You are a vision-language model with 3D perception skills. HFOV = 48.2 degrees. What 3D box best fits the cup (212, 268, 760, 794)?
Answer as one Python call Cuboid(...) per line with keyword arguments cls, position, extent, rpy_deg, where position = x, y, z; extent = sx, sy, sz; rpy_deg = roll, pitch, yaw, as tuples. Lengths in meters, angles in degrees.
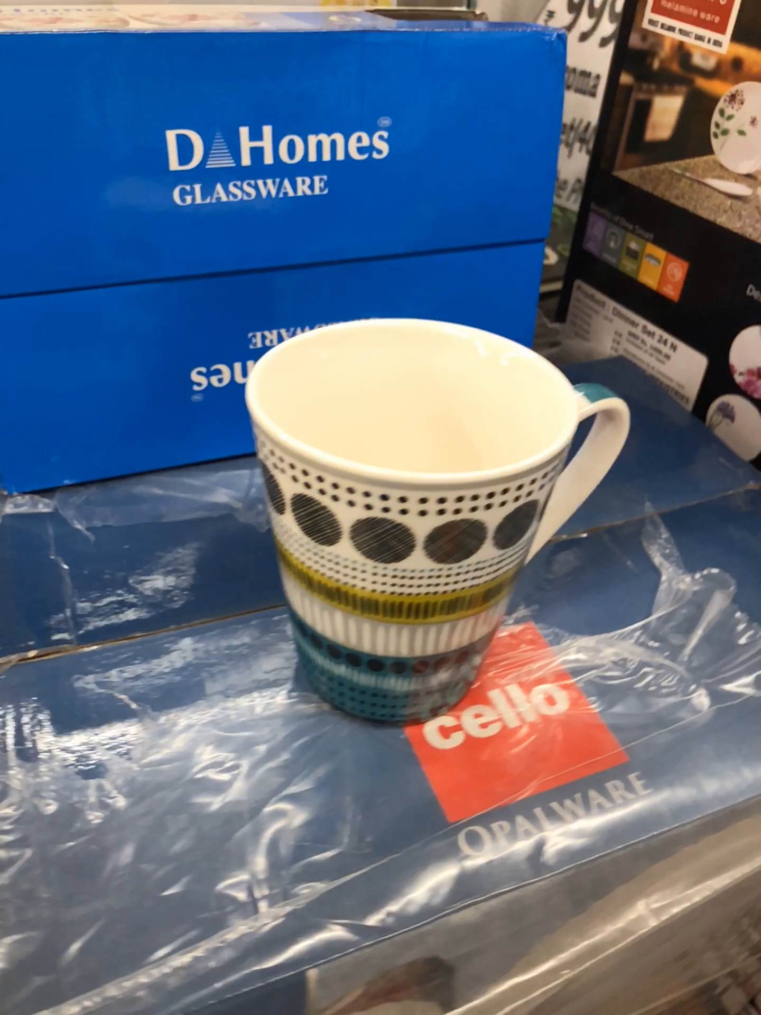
Cuboid(cls="cup", position=(0.026, -0.001, 0.250), extent=(0.120, 0.089, 0.090), rpy_deg=(-17, 44, -24))
